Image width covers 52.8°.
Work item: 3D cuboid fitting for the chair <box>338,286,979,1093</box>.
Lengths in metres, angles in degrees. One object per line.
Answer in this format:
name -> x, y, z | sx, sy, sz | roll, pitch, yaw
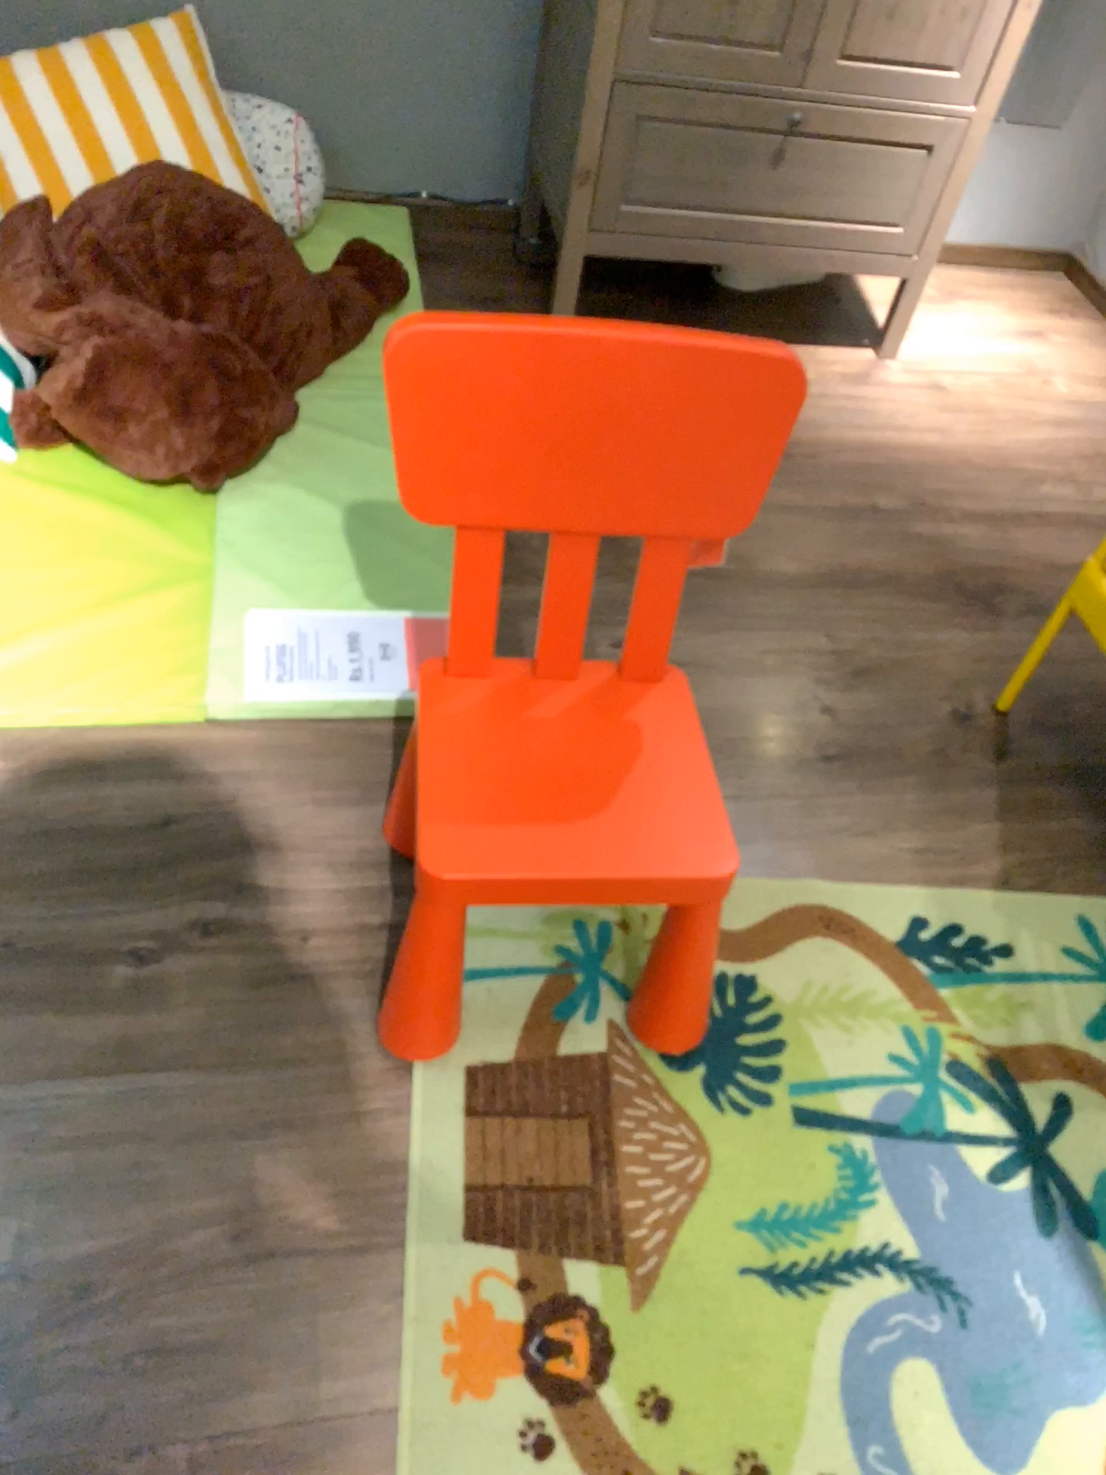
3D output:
chair -> 0.010, -0.024, 1.104 | 0.430, 0.598, 0.492 | 1, 48, -11
